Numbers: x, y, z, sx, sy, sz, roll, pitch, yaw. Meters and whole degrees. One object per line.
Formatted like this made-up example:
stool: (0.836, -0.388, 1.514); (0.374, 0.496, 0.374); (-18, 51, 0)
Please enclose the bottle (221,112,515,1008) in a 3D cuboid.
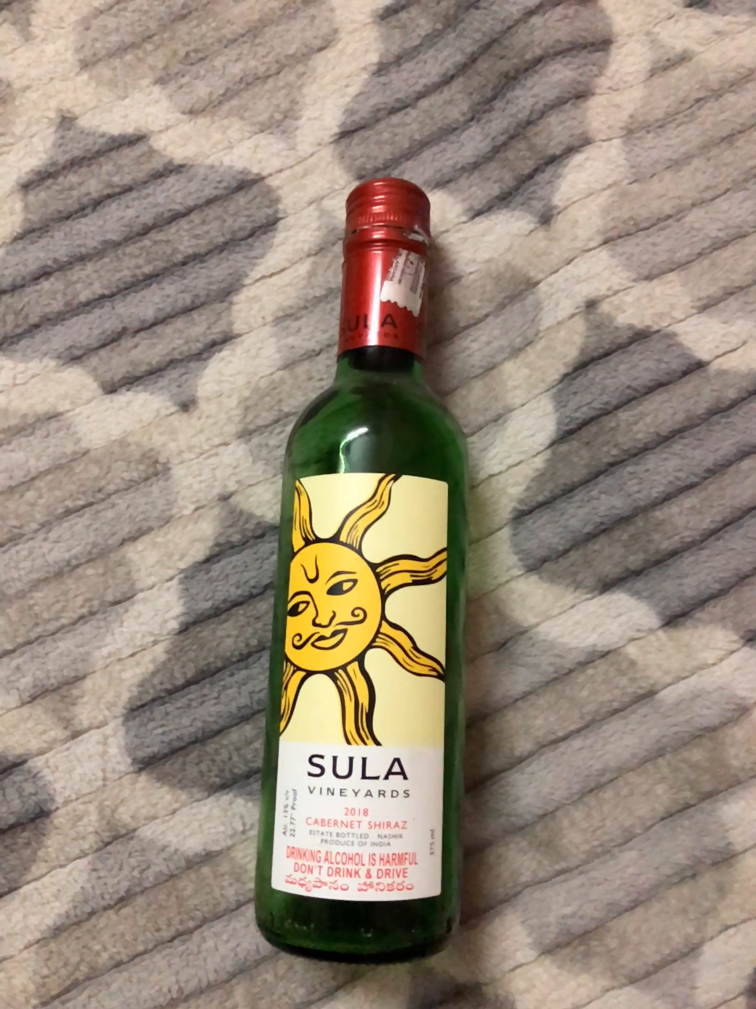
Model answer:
bottle: (0.003, 0.011, 0.234); (0.060, 0.050, 0.230); (2, 80, 5)
